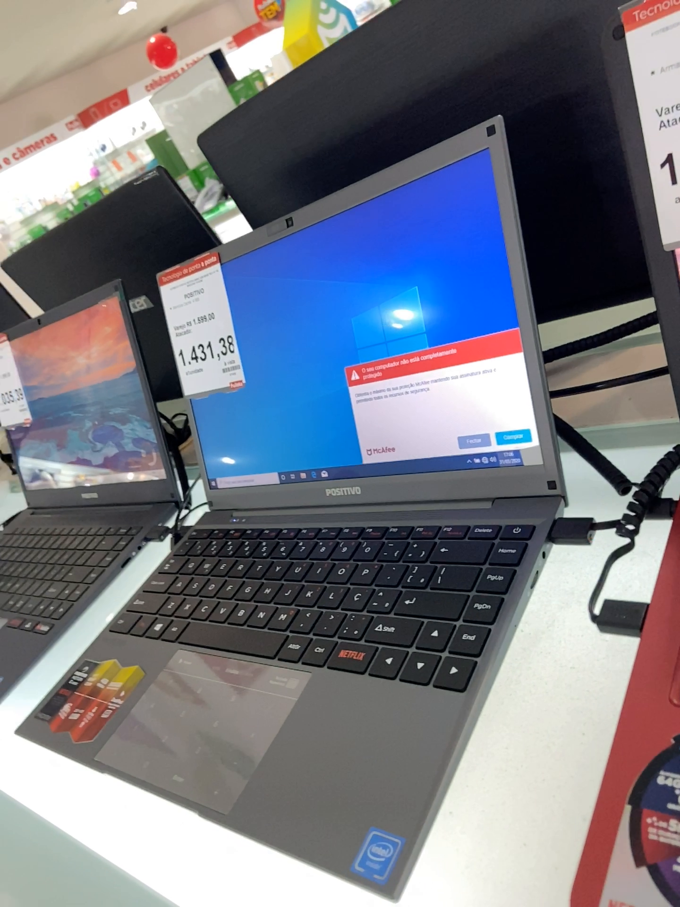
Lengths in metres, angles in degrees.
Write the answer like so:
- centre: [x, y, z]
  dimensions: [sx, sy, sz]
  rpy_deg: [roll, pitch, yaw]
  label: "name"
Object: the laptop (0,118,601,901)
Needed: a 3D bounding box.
- centre: [-0.072, 0.006, 0.429]
  dimensions: [0.330, 0.183, 0.320]
  rpy_deg: [-7, 36, 42]
  label: "laptop"
